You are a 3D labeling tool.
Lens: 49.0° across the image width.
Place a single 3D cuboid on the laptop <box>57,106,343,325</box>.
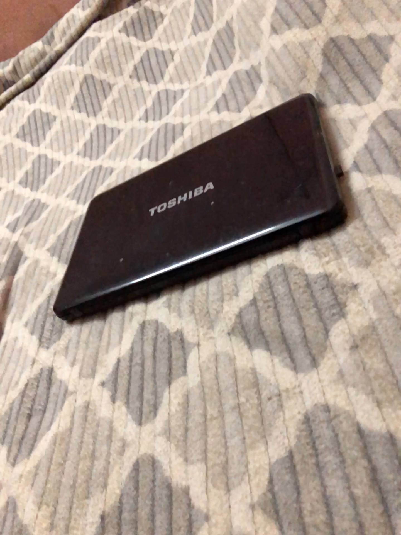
[{"bbox_3d":[-0.015,-0.073,0.603,0.376,0.023,0.249,-20,38,24],"label":"laptop"}]
